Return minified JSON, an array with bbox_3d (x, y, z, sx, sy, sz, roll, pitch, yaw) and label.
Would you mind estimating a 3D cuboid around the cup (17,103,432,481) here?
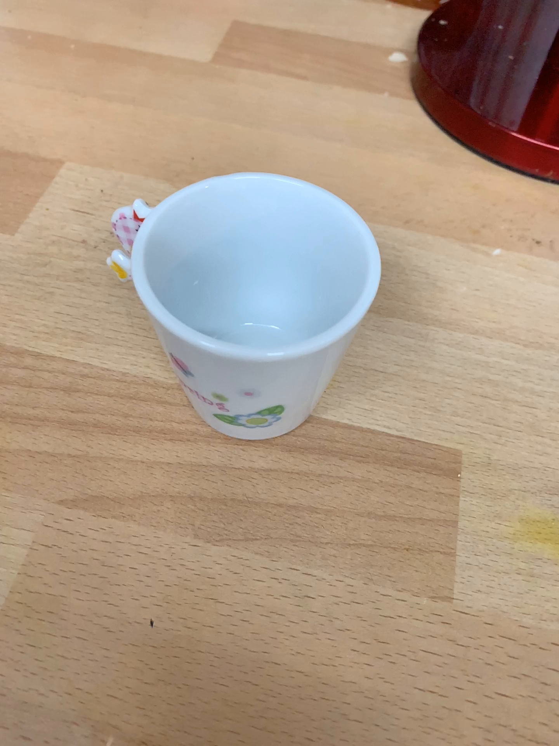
[{"bbox_3d":[-0.013,-0.024,0.162,0.080,0.050,0.060,27,59,14],"label":"cup"}]
